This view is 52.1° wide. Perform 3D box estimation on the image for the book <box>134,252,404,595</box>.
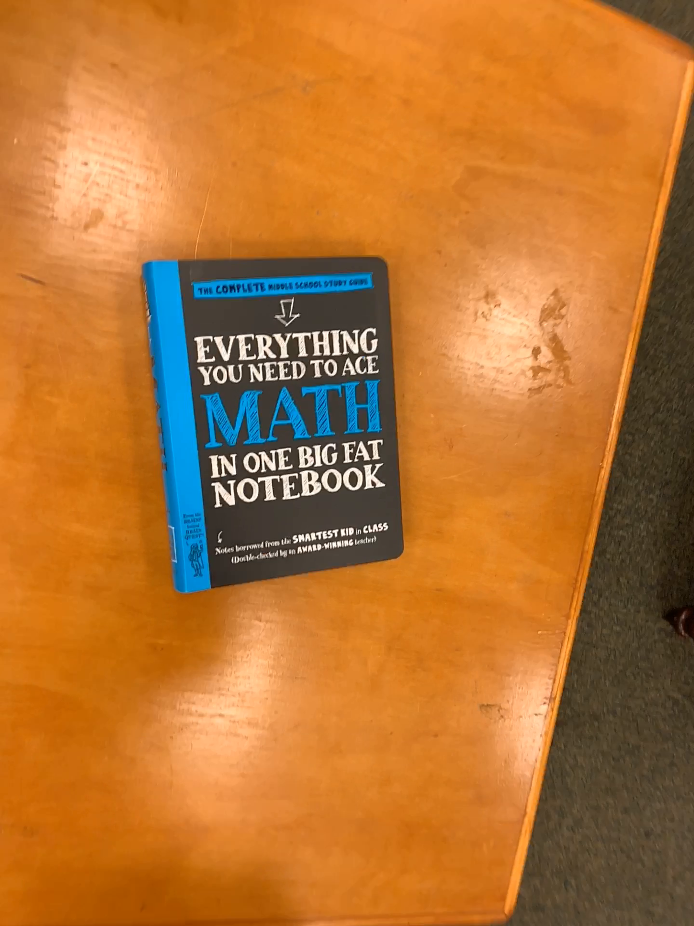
[{"bbox_3d":[-0.049,-0.030,0.481,0.160,0.040,0.210,-6,98,-17],"label":"book"}]
